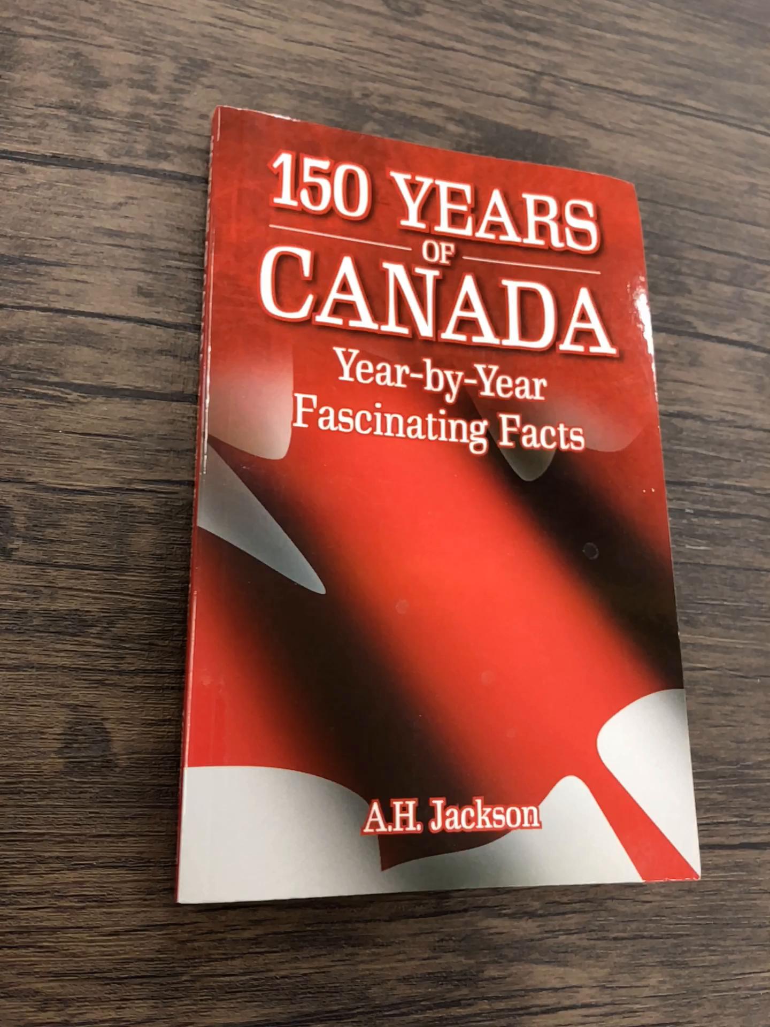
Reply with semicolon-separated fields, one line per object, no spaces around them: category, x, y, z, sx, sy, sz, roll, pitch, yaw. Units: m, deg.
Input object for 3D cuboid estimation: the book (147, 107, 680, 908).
book;0.007;-0.007;0.241;0.130;0.025;0.206;2;76;-12
